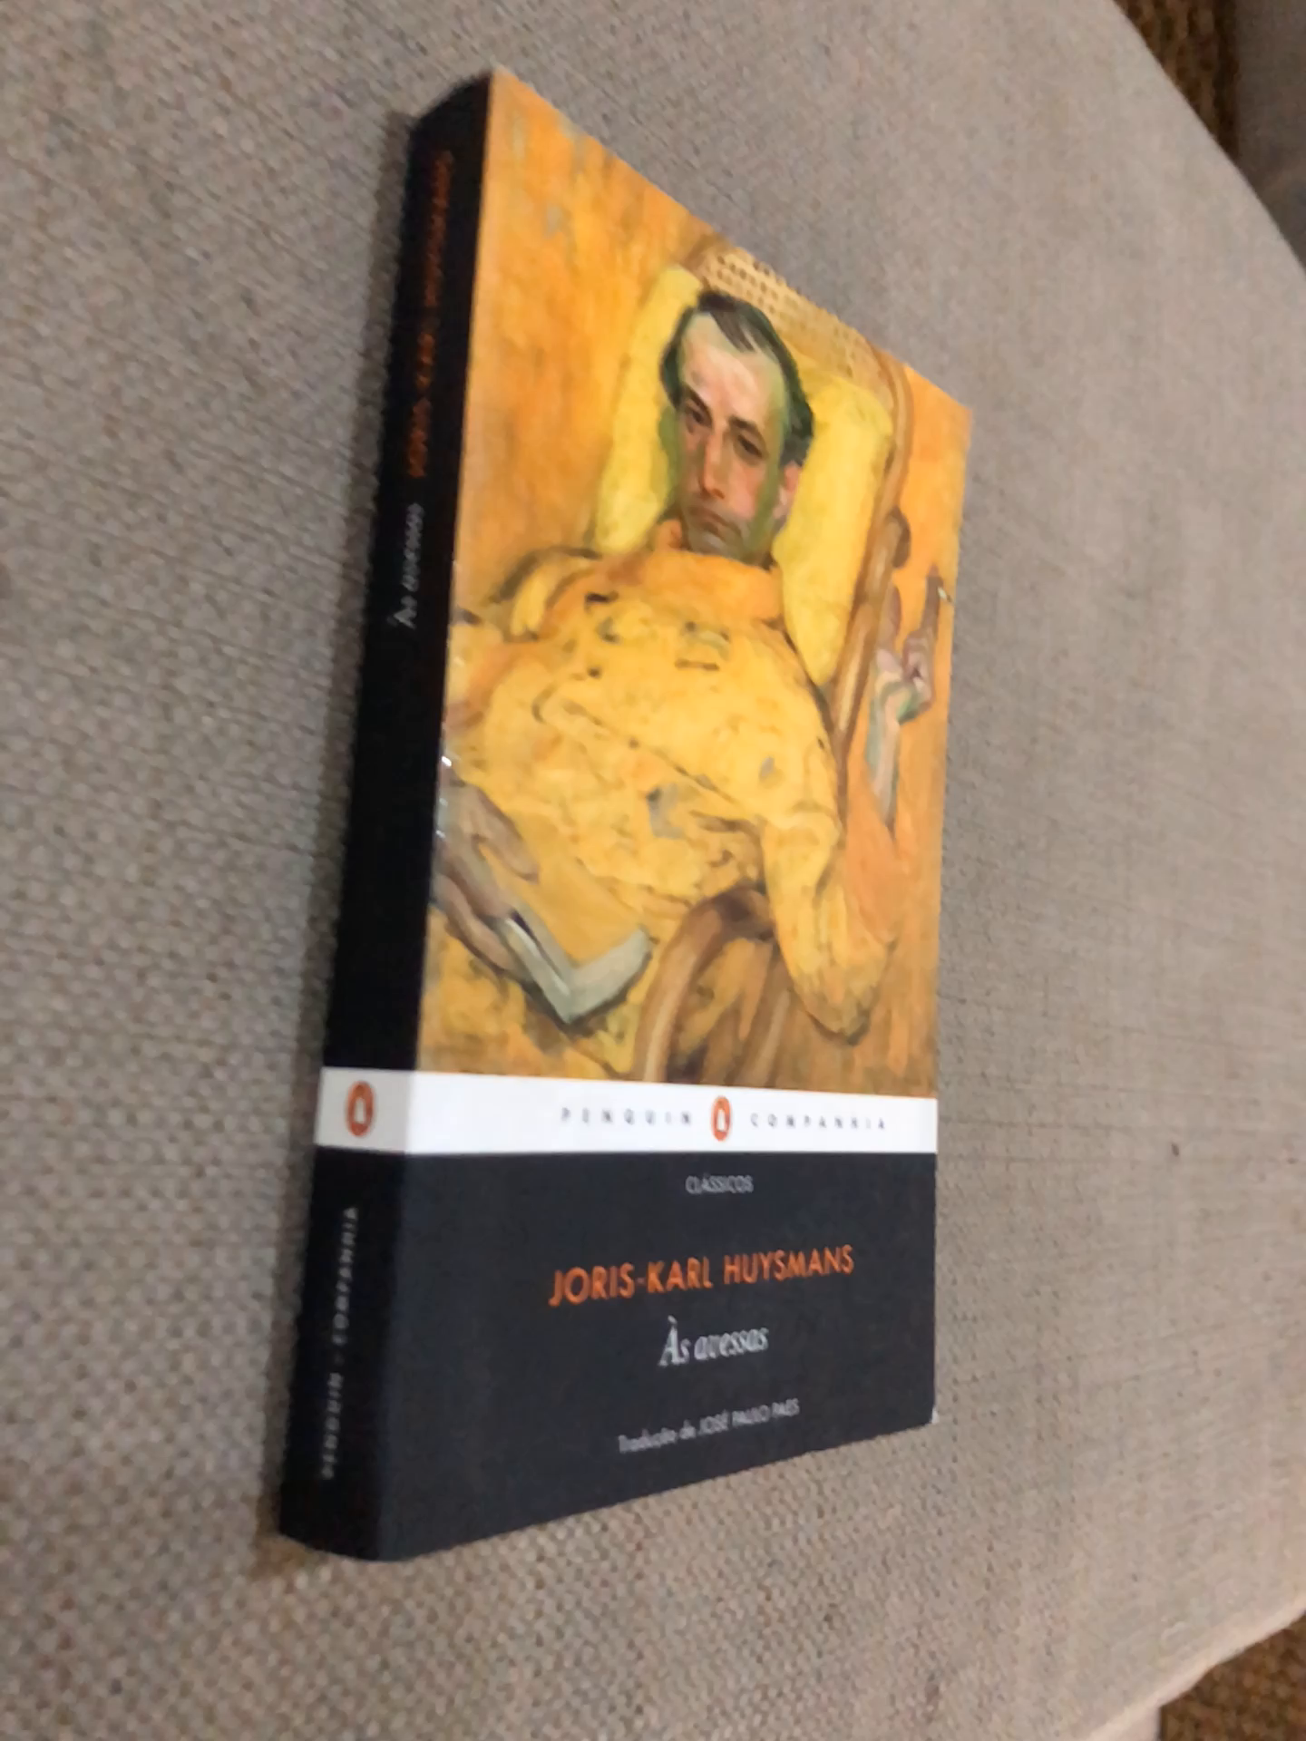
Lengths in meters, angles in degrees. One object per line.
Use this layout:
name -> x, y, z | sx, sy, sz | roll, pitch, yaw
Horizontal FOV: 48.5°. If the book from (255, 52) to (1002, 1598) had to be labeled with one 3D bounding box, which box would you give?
book -> 0.010, -0.003, 0.235 | 0.131, 0.023, 0.195 | 13, 78, -46
